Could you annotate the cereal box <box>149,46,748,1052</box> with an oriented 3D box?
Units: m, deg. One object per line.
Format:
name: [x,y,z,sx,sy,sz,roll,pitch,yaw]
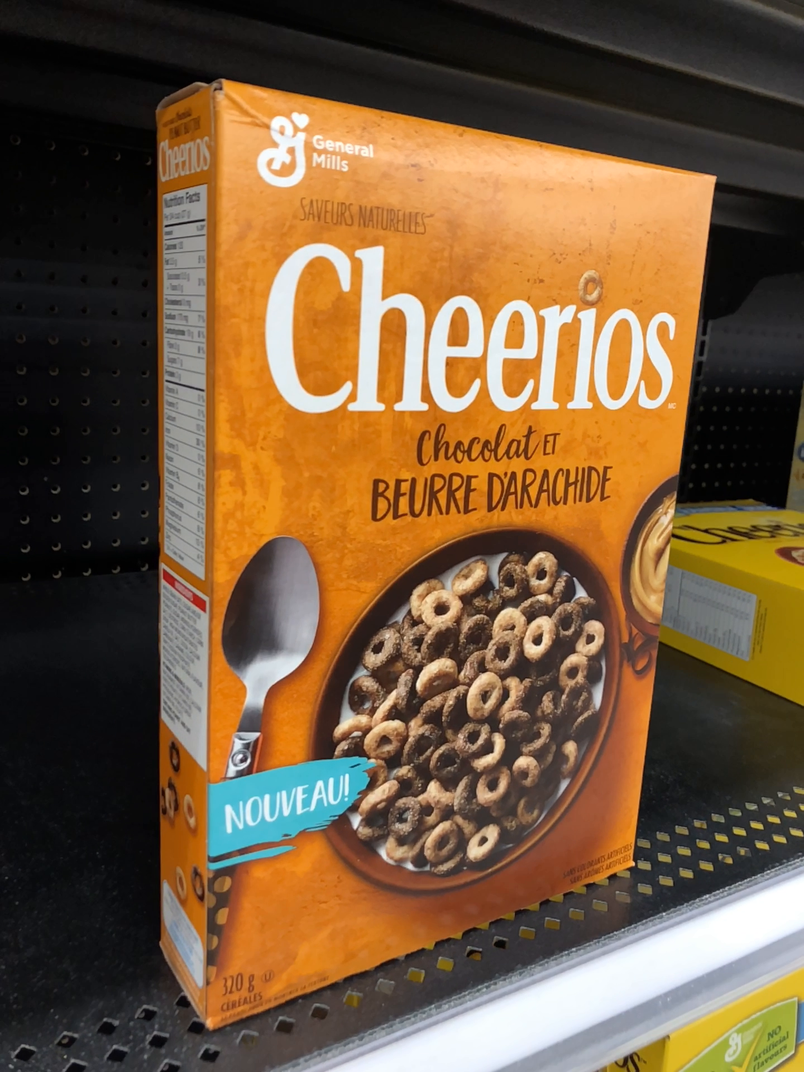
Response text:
cereal box: [0.016,0.007,0.326,0.200,0.289,0.060,-5,15,-33]
